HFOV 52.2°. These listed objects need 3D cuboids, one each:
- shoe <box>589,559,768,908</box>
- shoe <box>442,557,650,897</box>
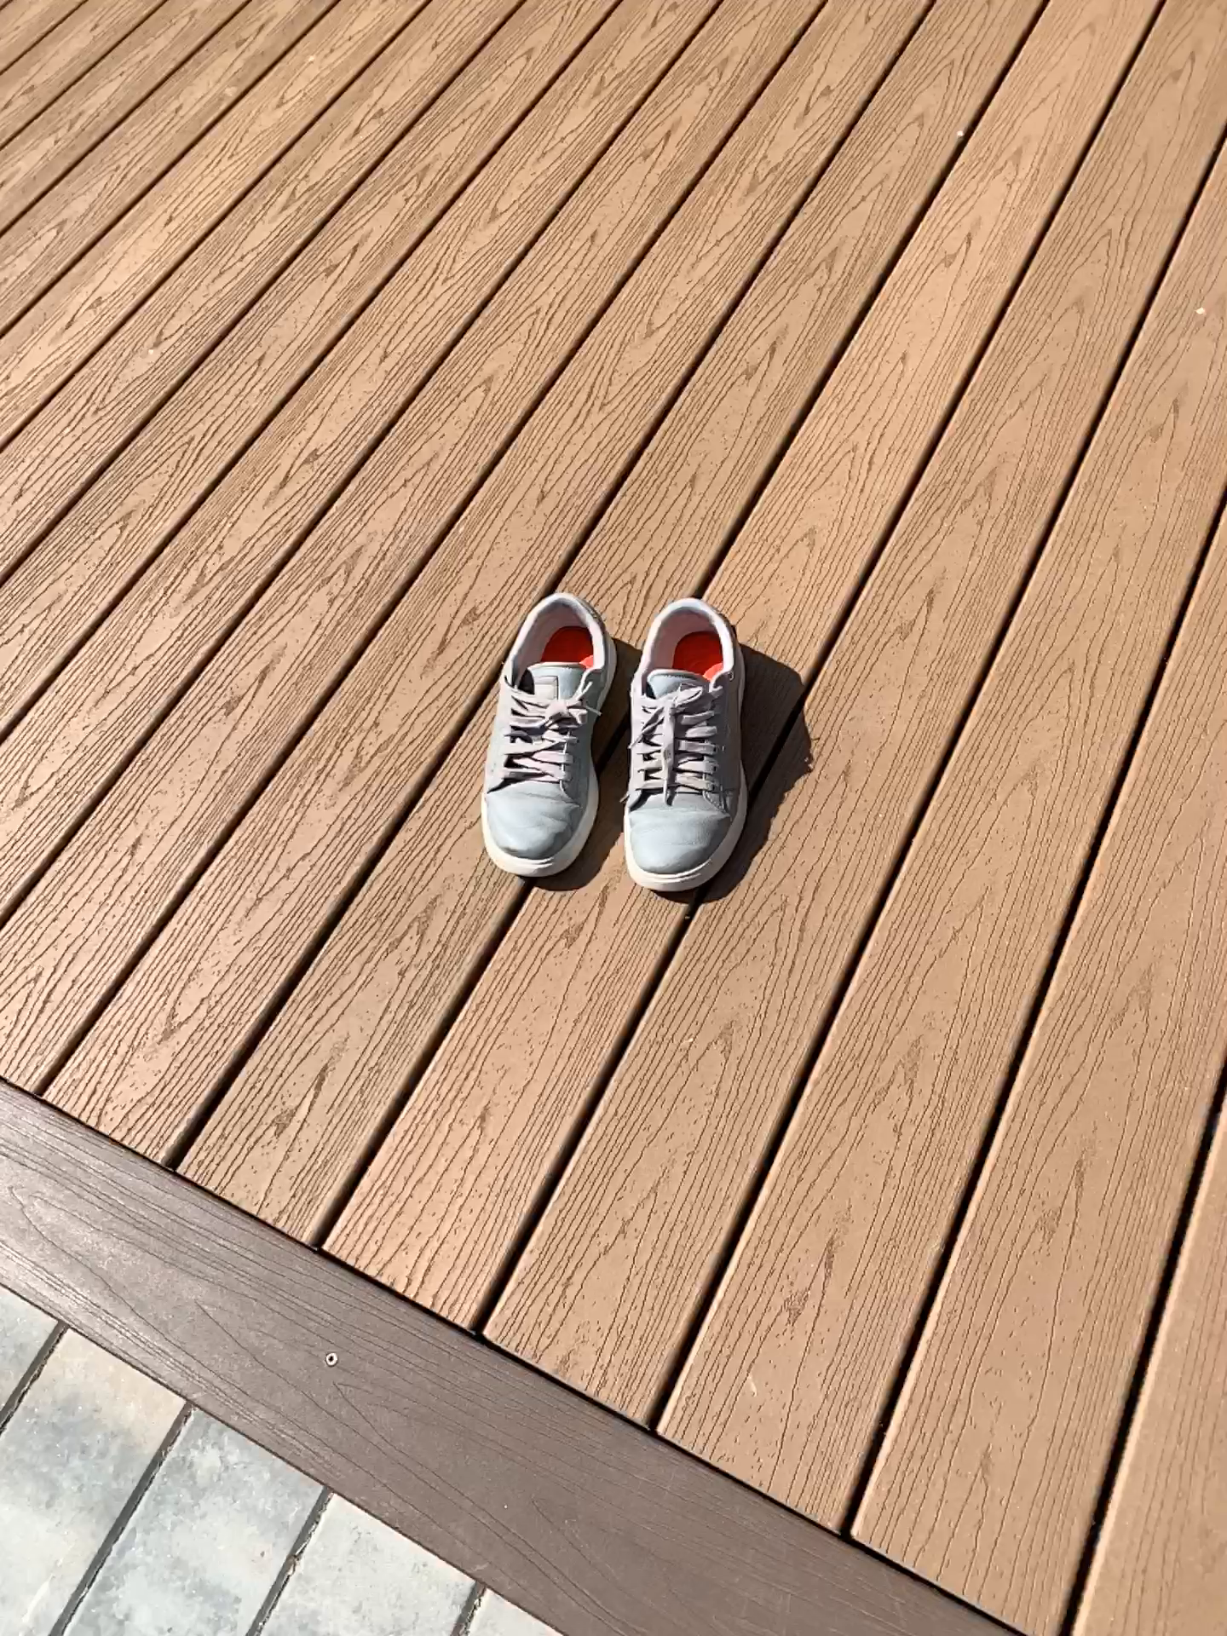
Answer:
[{"bbox_3d":[0.064,-0.078,1.079,0.120,0.100,0.290,3,60,9],"label":"shoe"},{"bbox_3d":[-0.050,-0.083,1.081,0.120,0.100,0.280,4,60,10],"label":"shoe"}]
